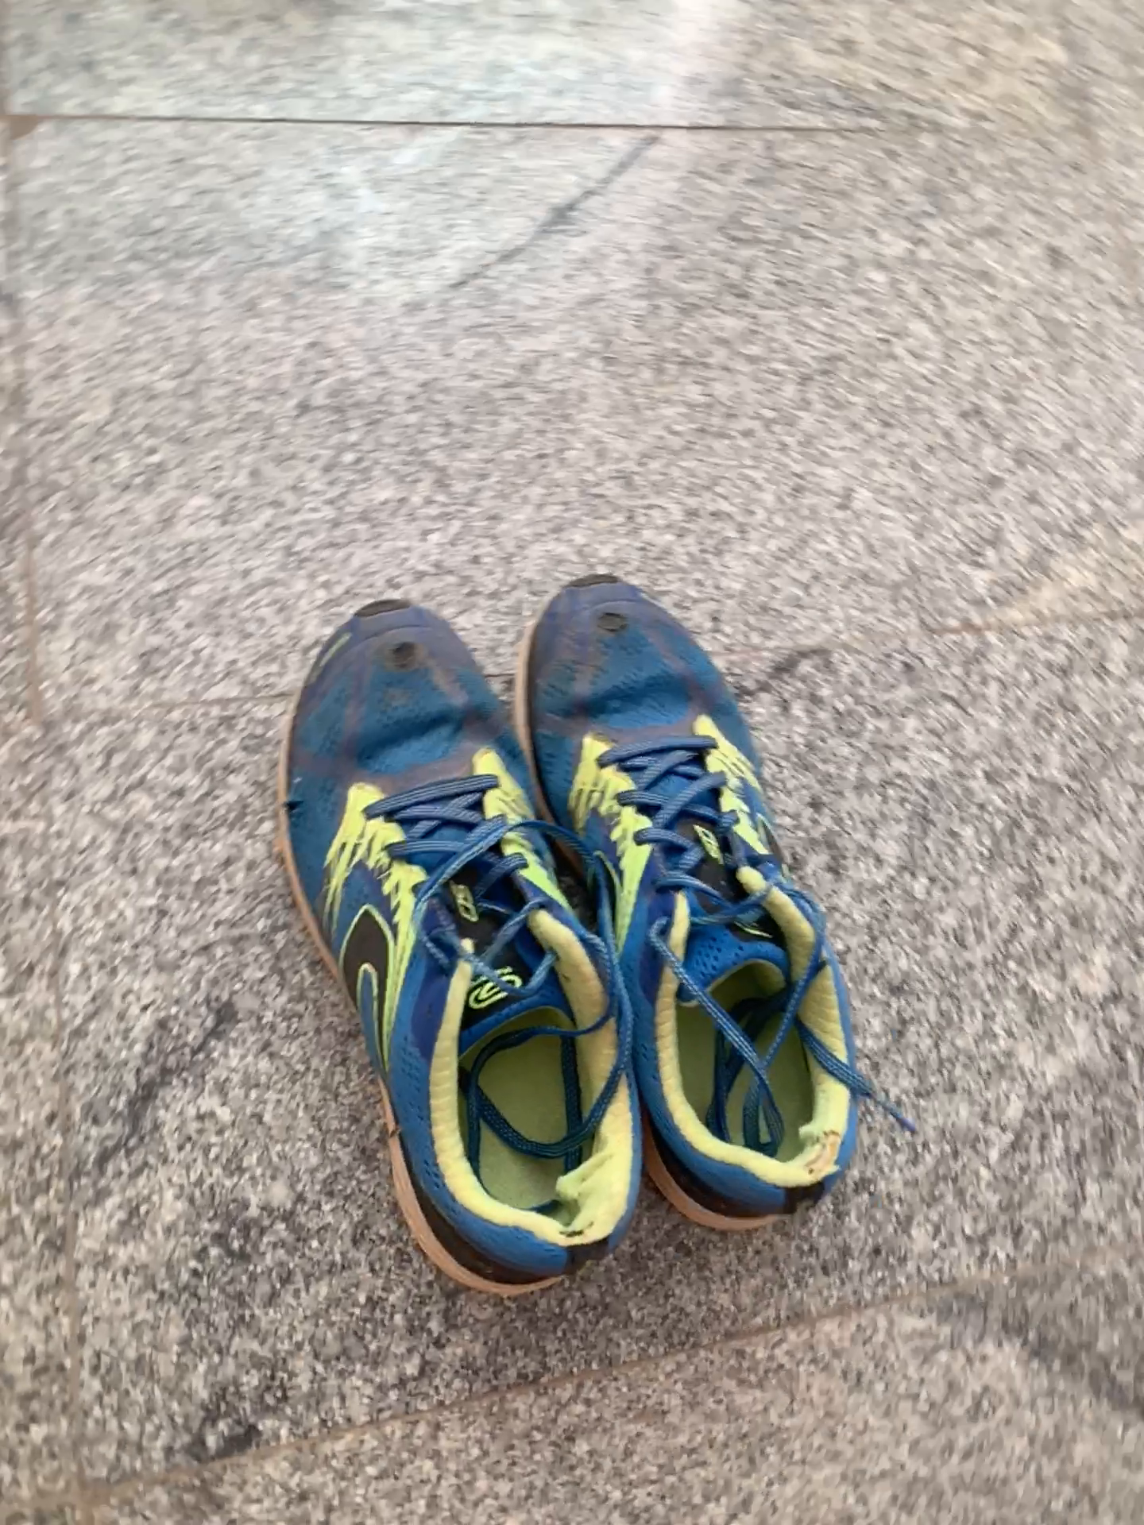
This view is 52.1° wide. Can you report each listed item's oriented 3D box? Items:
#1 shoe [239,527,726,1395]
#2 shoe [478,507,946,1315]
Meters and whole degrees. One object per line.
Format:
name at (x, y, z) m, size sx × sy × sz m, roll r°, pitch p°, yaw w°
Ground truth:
shoe at (-0.040, 0.061, 0.441) m, size 0.100 × 0.060 × 0.290 m, roll -10°, pitch 79°, yaw -27°
shoe at (0.048, 0.048, 0.471) m, size 0.110 × 0.060 × 0.290 m, roll -9°, pitch 79°, yaw -16°
